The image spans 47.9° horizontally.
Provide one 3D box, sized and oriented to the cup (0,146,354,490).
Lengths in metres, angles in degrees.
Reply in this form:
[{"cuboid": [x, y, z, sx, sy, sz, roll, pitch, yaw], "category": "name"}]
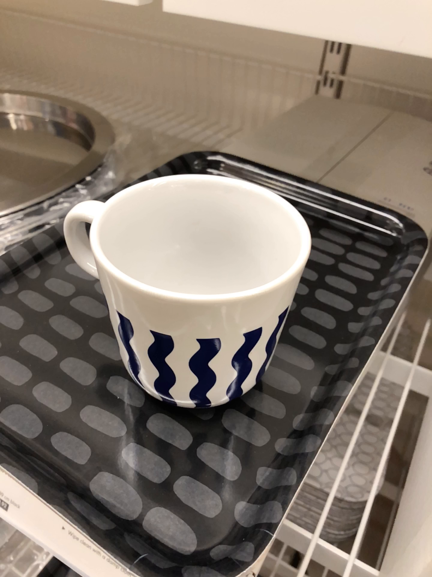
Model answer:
[{"cuboid": [-0.018, 0.003, 0.215, 0.120, 0.080, 0.090, 20, 40, 18], "category": "cup"}]
